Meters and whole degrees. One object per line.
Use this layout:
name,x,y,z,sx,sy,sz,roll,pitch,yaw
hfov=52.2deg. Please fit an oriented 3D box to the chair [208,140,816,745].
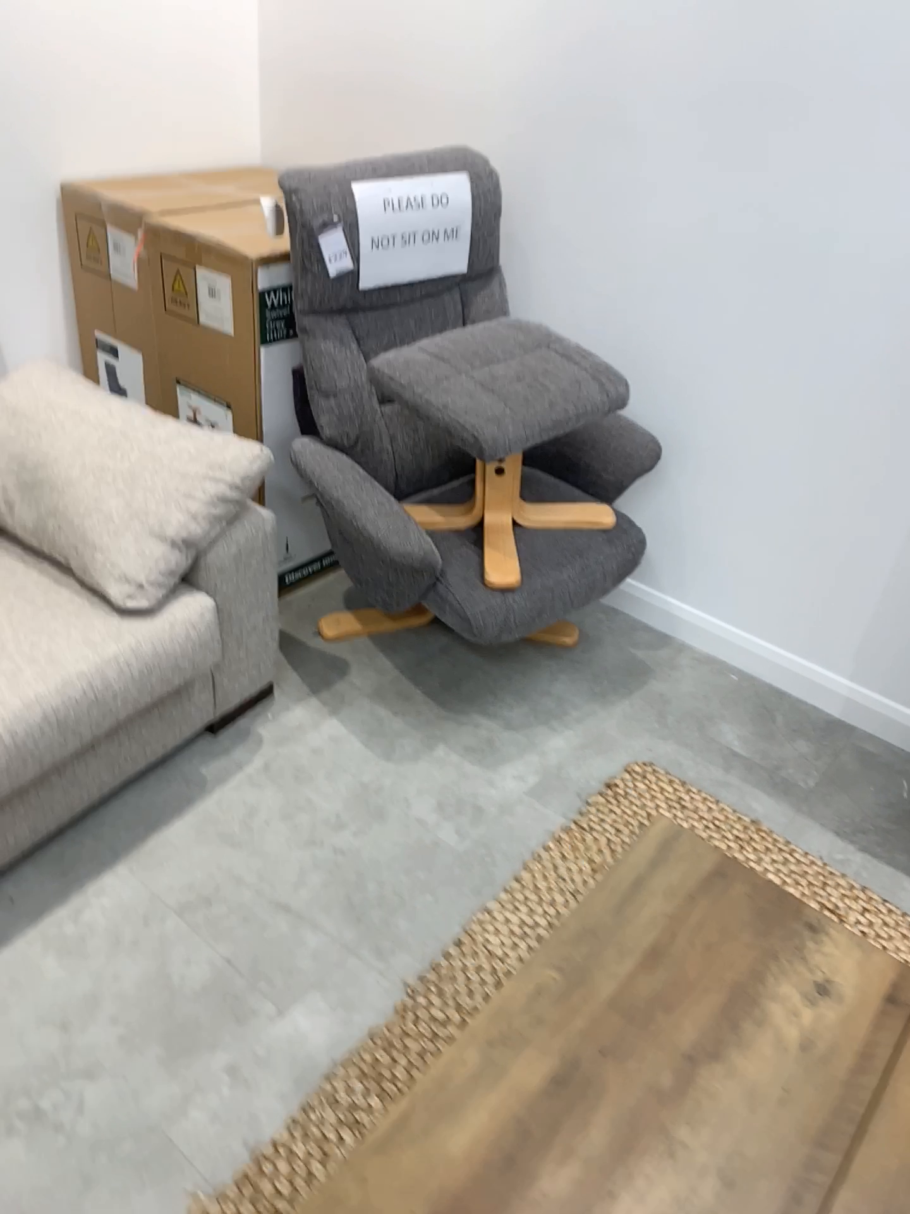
chair,0.085,-0.436,2.010,0.870,0.896,0.789,-26,45,-39

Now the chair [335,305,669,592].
chair,0.087,-0.361,1.947,0.499,0.352,0.448,-26,45,-38
